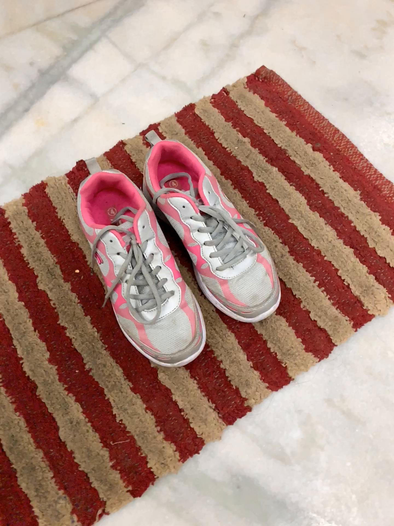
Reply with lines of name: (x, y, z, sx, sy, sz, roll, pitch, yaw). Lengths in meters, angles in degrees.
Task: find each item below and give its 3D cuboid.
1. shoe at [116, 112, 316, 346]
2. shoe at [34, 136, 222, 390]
shoe: (0.013, -0.039, 0.454, 0.090, 0.100, 0.231, -31, 69, -10)
shoe: (-0.072, -0.001, 0.430, 0.100, 0.100, 0.231, -25, 68, -8)
